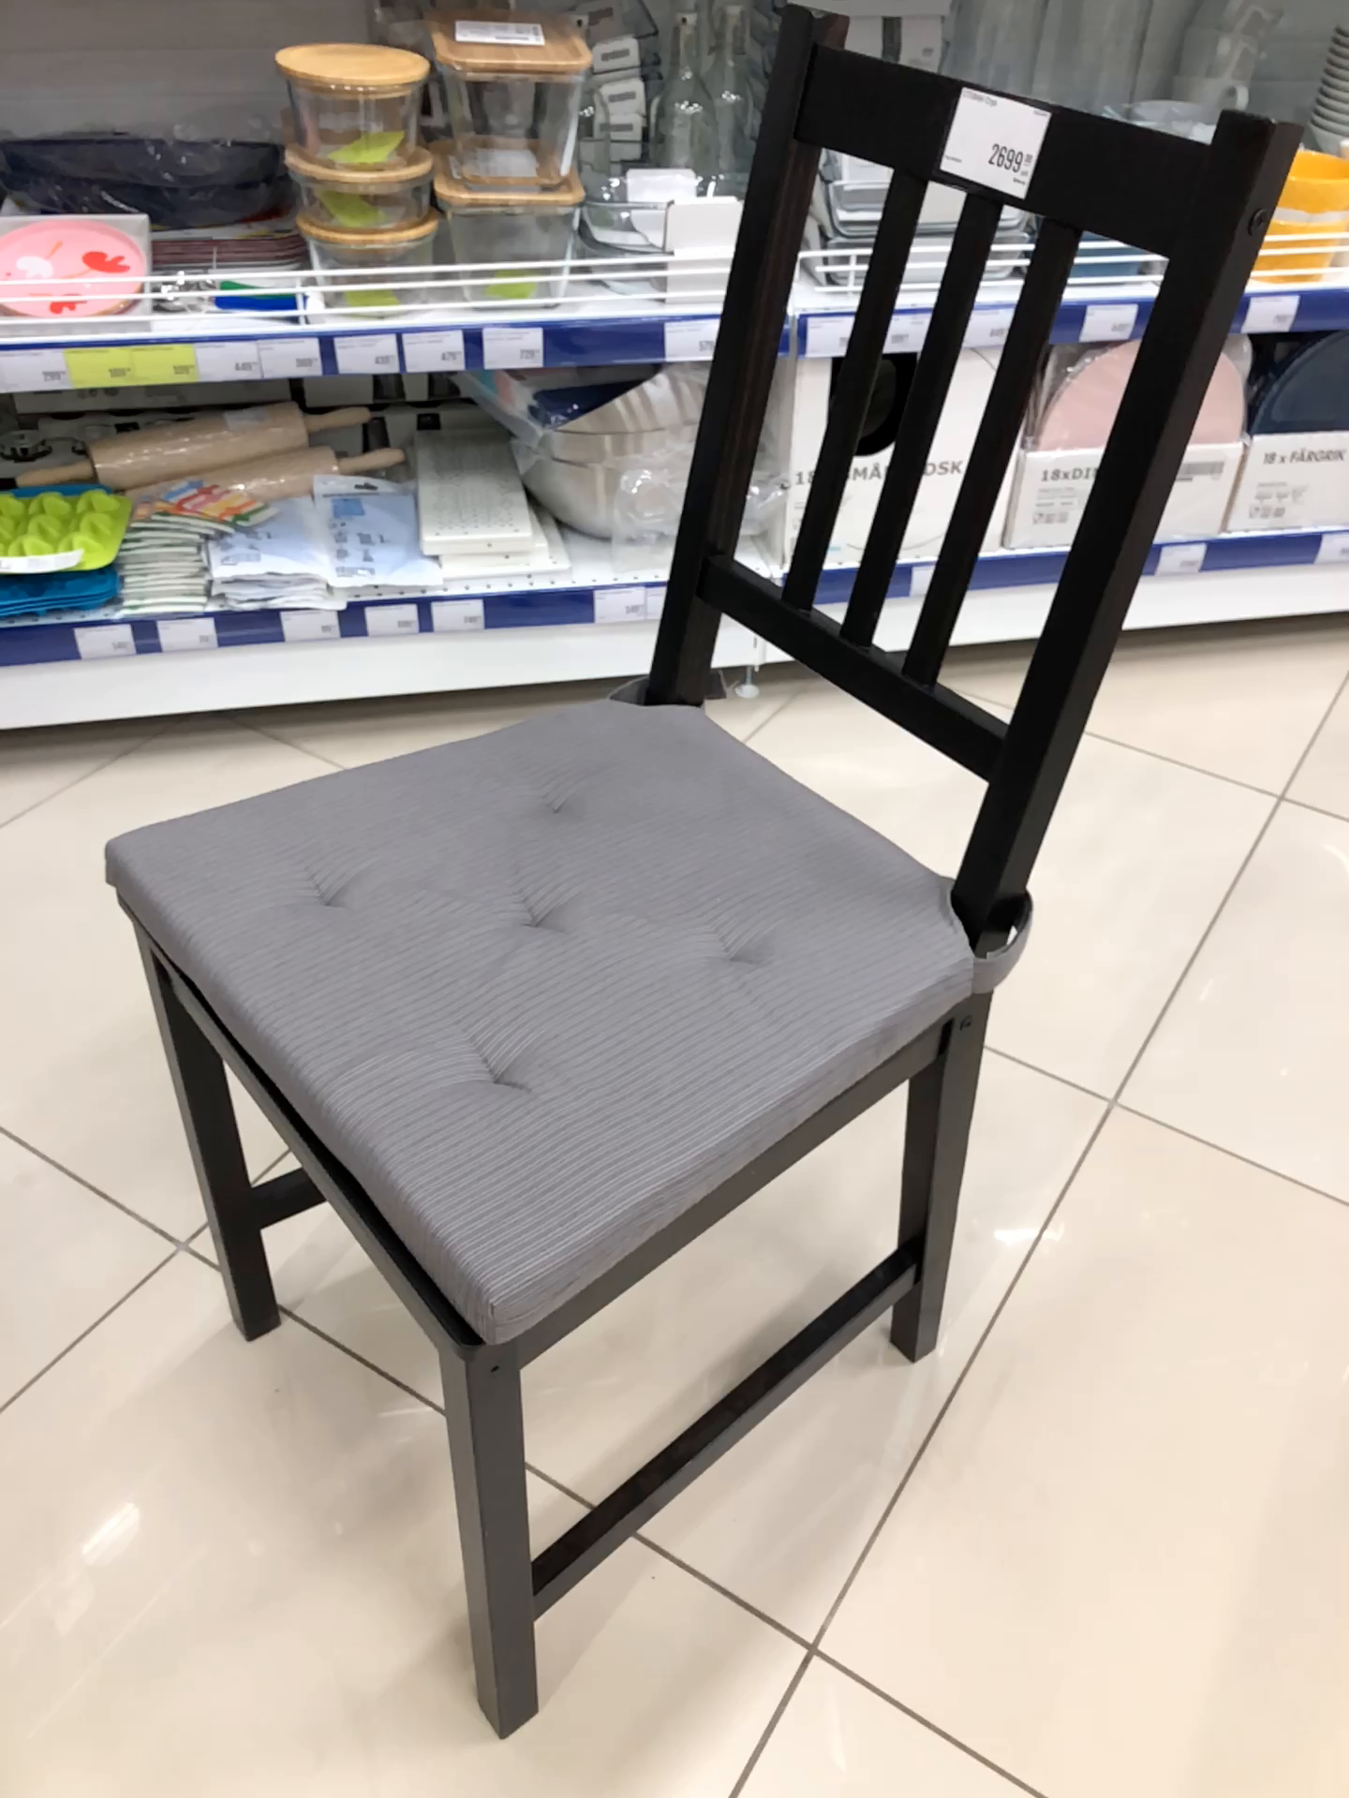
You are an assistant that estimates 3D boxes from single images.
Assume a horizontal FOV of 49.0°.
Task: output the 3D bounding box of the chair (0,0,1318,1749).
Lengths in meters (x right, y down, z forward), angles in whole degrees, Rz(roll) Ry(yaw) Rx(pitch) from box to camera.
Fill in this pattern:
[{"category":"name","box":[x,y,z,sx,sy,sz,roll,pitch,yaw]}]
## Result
[{"category":"chair","box":[-0.049,0.000,0.879,0.462,0.854,0.401,-26,46,-30]}]
